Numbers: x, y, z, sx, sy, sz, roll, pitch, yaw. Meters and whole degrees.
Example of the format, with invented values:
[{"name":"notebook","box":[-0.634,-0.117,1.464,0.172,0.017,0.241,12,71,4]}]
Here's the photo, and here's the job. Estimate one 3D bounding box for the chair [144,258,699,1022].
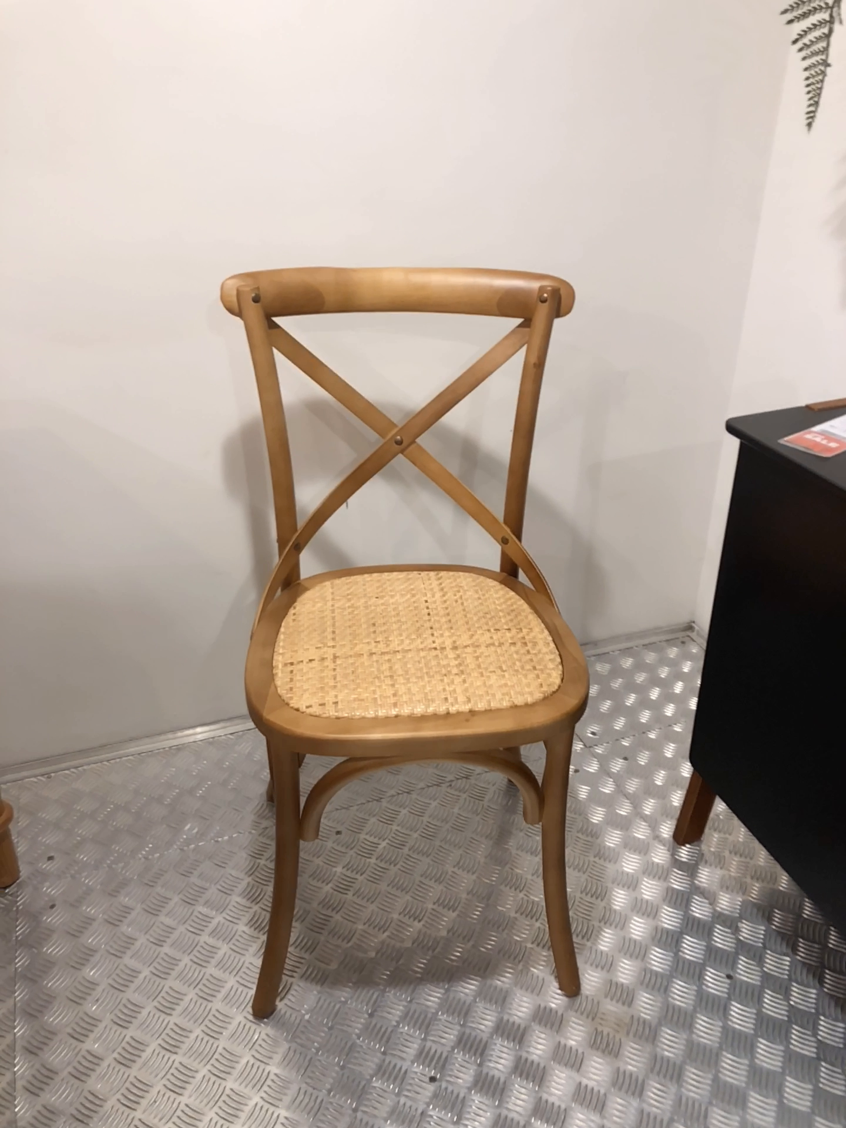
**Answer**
[{"name":"chair","box":[-0.016,0.086,1.281,0.500,0.873,0.544,-1,28,-3]}]
